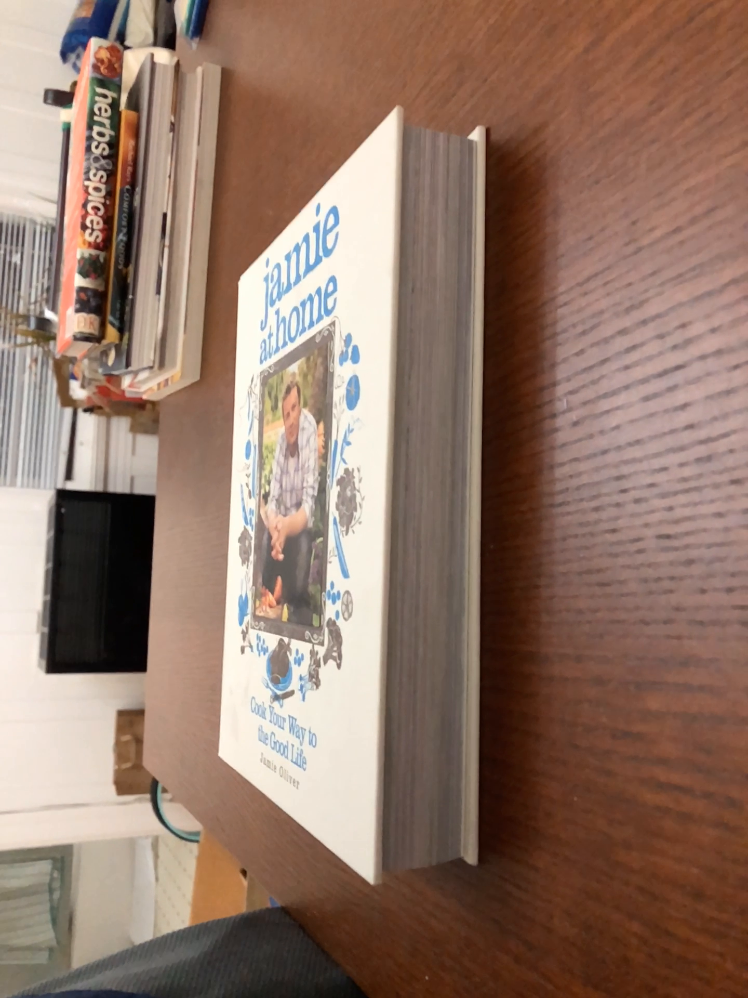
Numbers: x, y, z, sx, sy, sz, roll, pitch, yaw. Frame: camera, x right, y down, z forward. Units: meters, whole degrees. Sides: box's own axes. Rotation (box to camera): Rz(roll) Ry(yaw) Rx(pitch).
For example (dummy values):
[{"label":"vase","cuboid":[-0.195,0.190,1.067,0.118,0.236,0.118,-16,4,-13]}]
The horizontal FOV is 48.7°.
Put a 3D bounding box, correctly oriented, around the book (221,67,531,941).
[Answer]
[{"label":"book","cuboid":[-0.014,0.003,0.349,0.211,0.040,0.260,171,102,-66]}]
